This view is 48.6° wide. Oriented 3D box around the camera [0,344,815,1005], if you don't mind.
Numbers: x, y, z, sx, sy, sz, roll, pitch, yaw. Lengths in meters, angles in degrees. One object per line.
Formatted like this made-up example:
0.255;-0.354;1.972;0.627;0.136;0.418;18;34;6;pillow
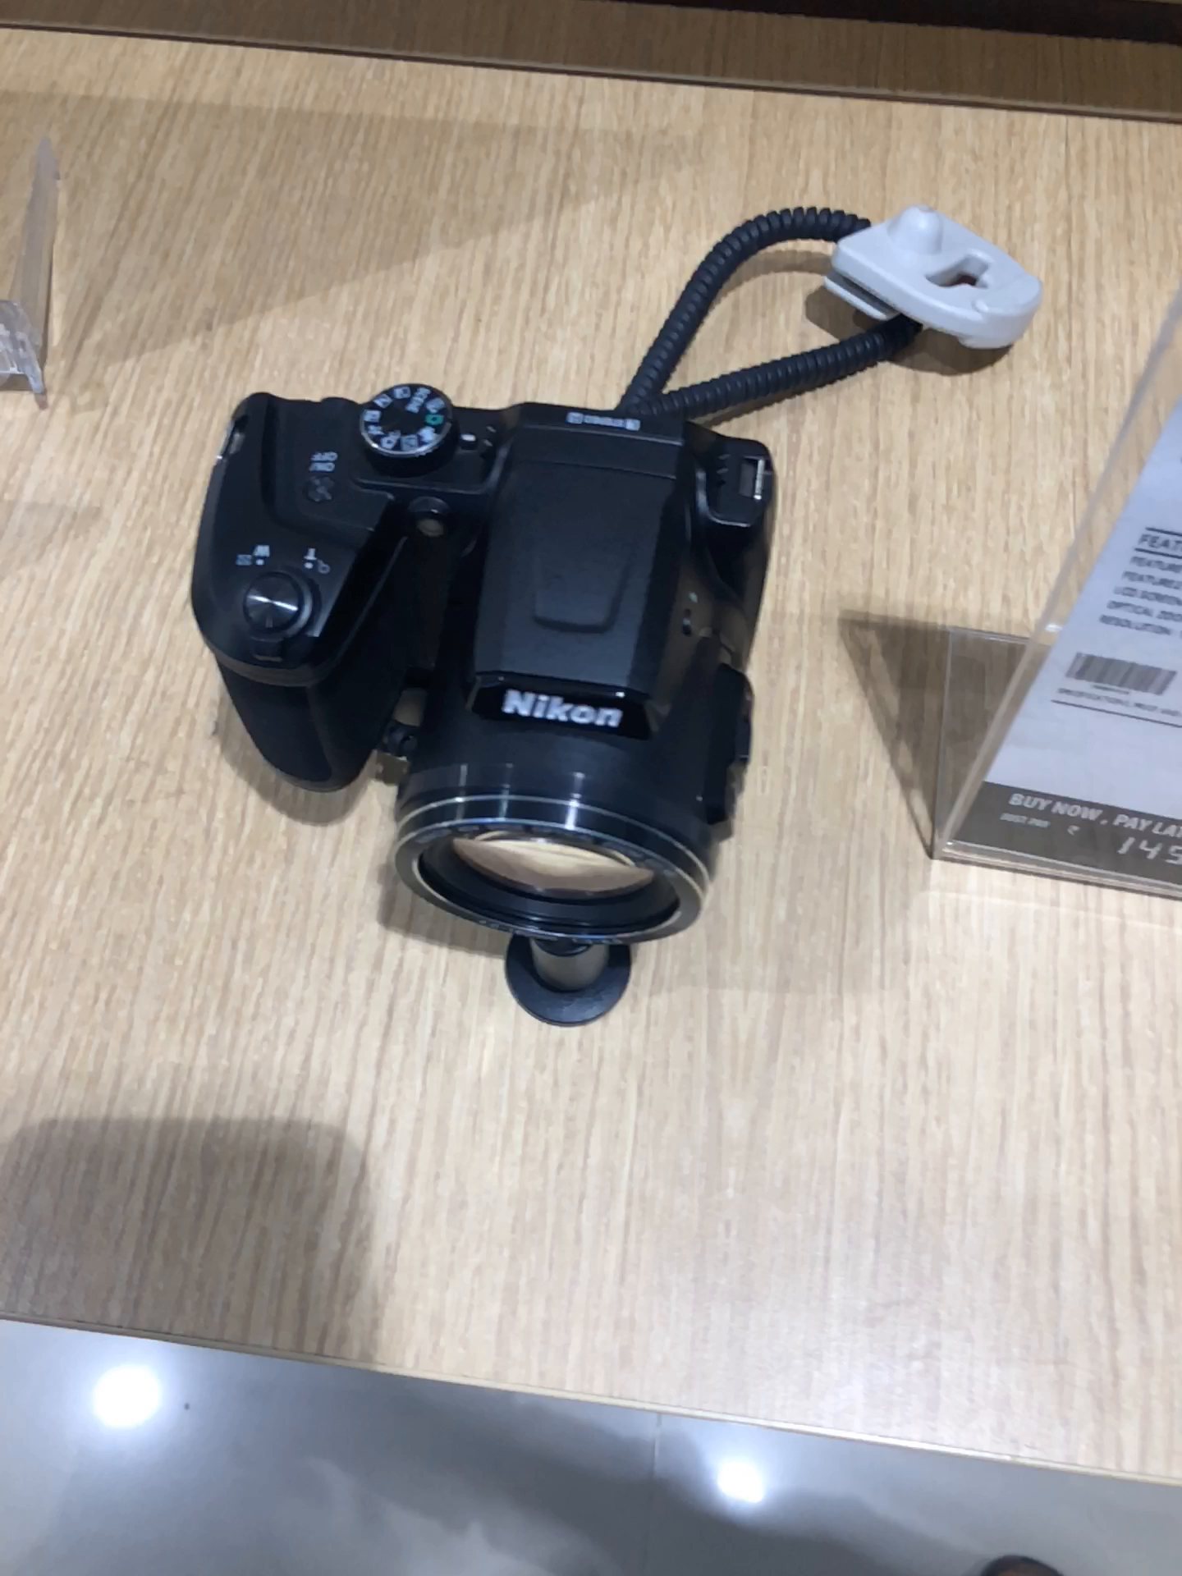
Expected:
-0.025;-0.019;0.247;0.120;0.070;0.090;6;65;3;camera
